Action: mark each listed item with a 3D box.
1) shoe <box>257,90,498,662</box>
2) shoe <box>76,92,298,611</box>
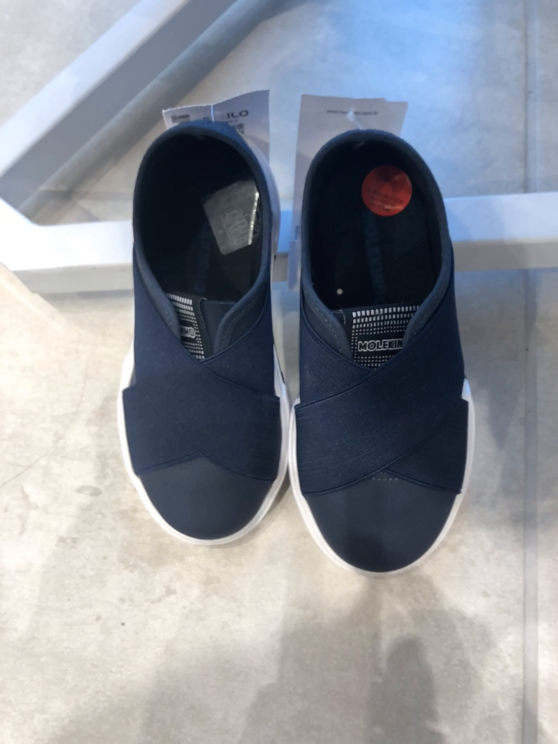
[{"bbox_3d":[0.037,0.003,0.233,0.070,0.070,0.180,-1,99,8],"label":"shoe"},{"bbox_3d":[-0.029,-0.007,0.252,0.070,0.070,0.180,0,100,3],"label":"shoe"}]
